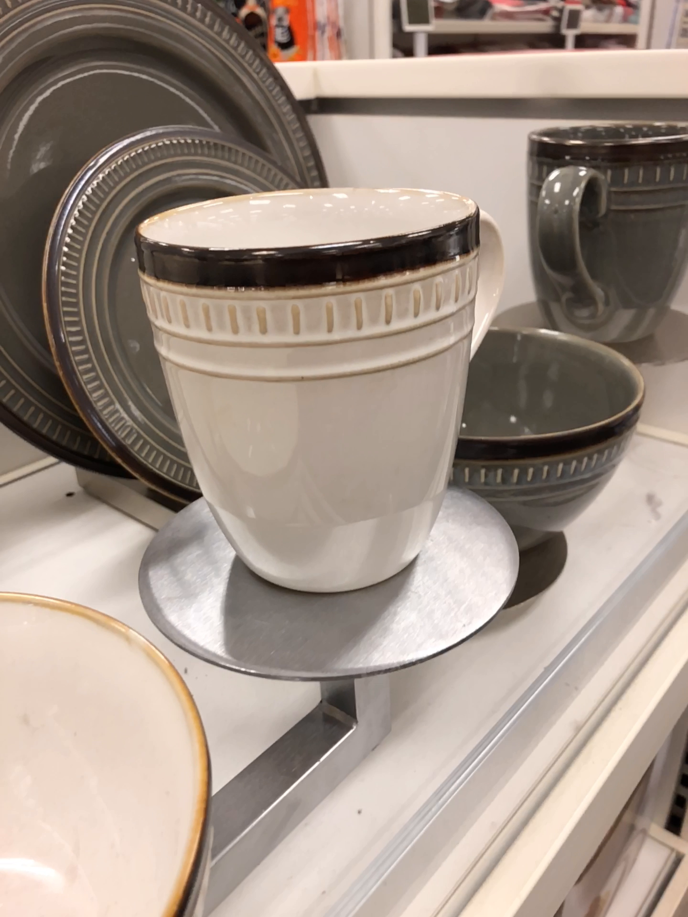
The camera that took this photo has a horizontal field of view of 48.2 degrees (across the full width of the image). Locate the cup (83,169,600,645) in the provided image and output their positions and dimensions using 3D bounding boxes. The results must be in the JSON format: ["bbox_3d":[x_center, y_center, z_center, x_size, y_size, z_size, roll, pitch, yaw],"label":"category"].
[{"bbox_3d":[0.008,-0.032,0.243,0.092,0.097,0.128,16,32,32],"label":"cup"}]
